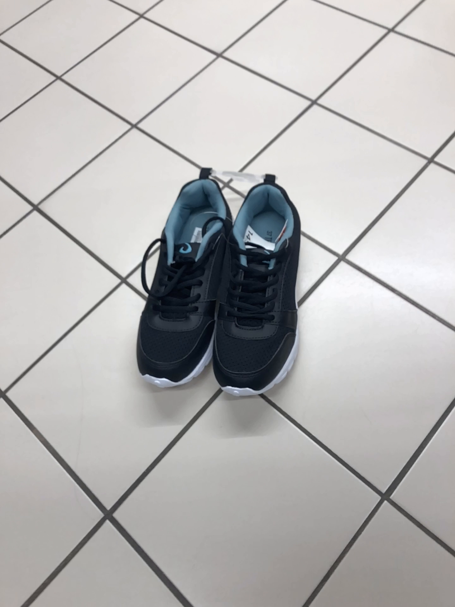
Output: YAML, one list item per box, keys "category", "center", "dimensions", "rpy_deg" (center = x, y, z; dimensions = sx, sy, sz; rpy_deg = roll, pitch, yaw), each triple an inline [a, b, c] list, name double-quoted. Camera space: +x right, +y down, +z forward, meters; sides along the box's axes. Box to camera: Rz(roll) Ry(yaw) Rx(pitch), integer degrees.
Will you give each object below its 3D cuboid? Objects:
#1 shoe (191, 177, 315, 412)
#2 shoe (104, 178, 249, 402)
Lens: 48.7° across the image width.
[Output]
- category: "shoe"
  center: [0.039, -0.014, 0.578]
  dimensions: [0.100, 0.110, 0.241]
  rpy_deg: [5, 63, 11]
- category: "shoe"
  center: [-0.047, -0.020, 0.593]
  dimensions: [0.100, 0.100, 0.241]
  rpy_deg: [3, 62, 14]
